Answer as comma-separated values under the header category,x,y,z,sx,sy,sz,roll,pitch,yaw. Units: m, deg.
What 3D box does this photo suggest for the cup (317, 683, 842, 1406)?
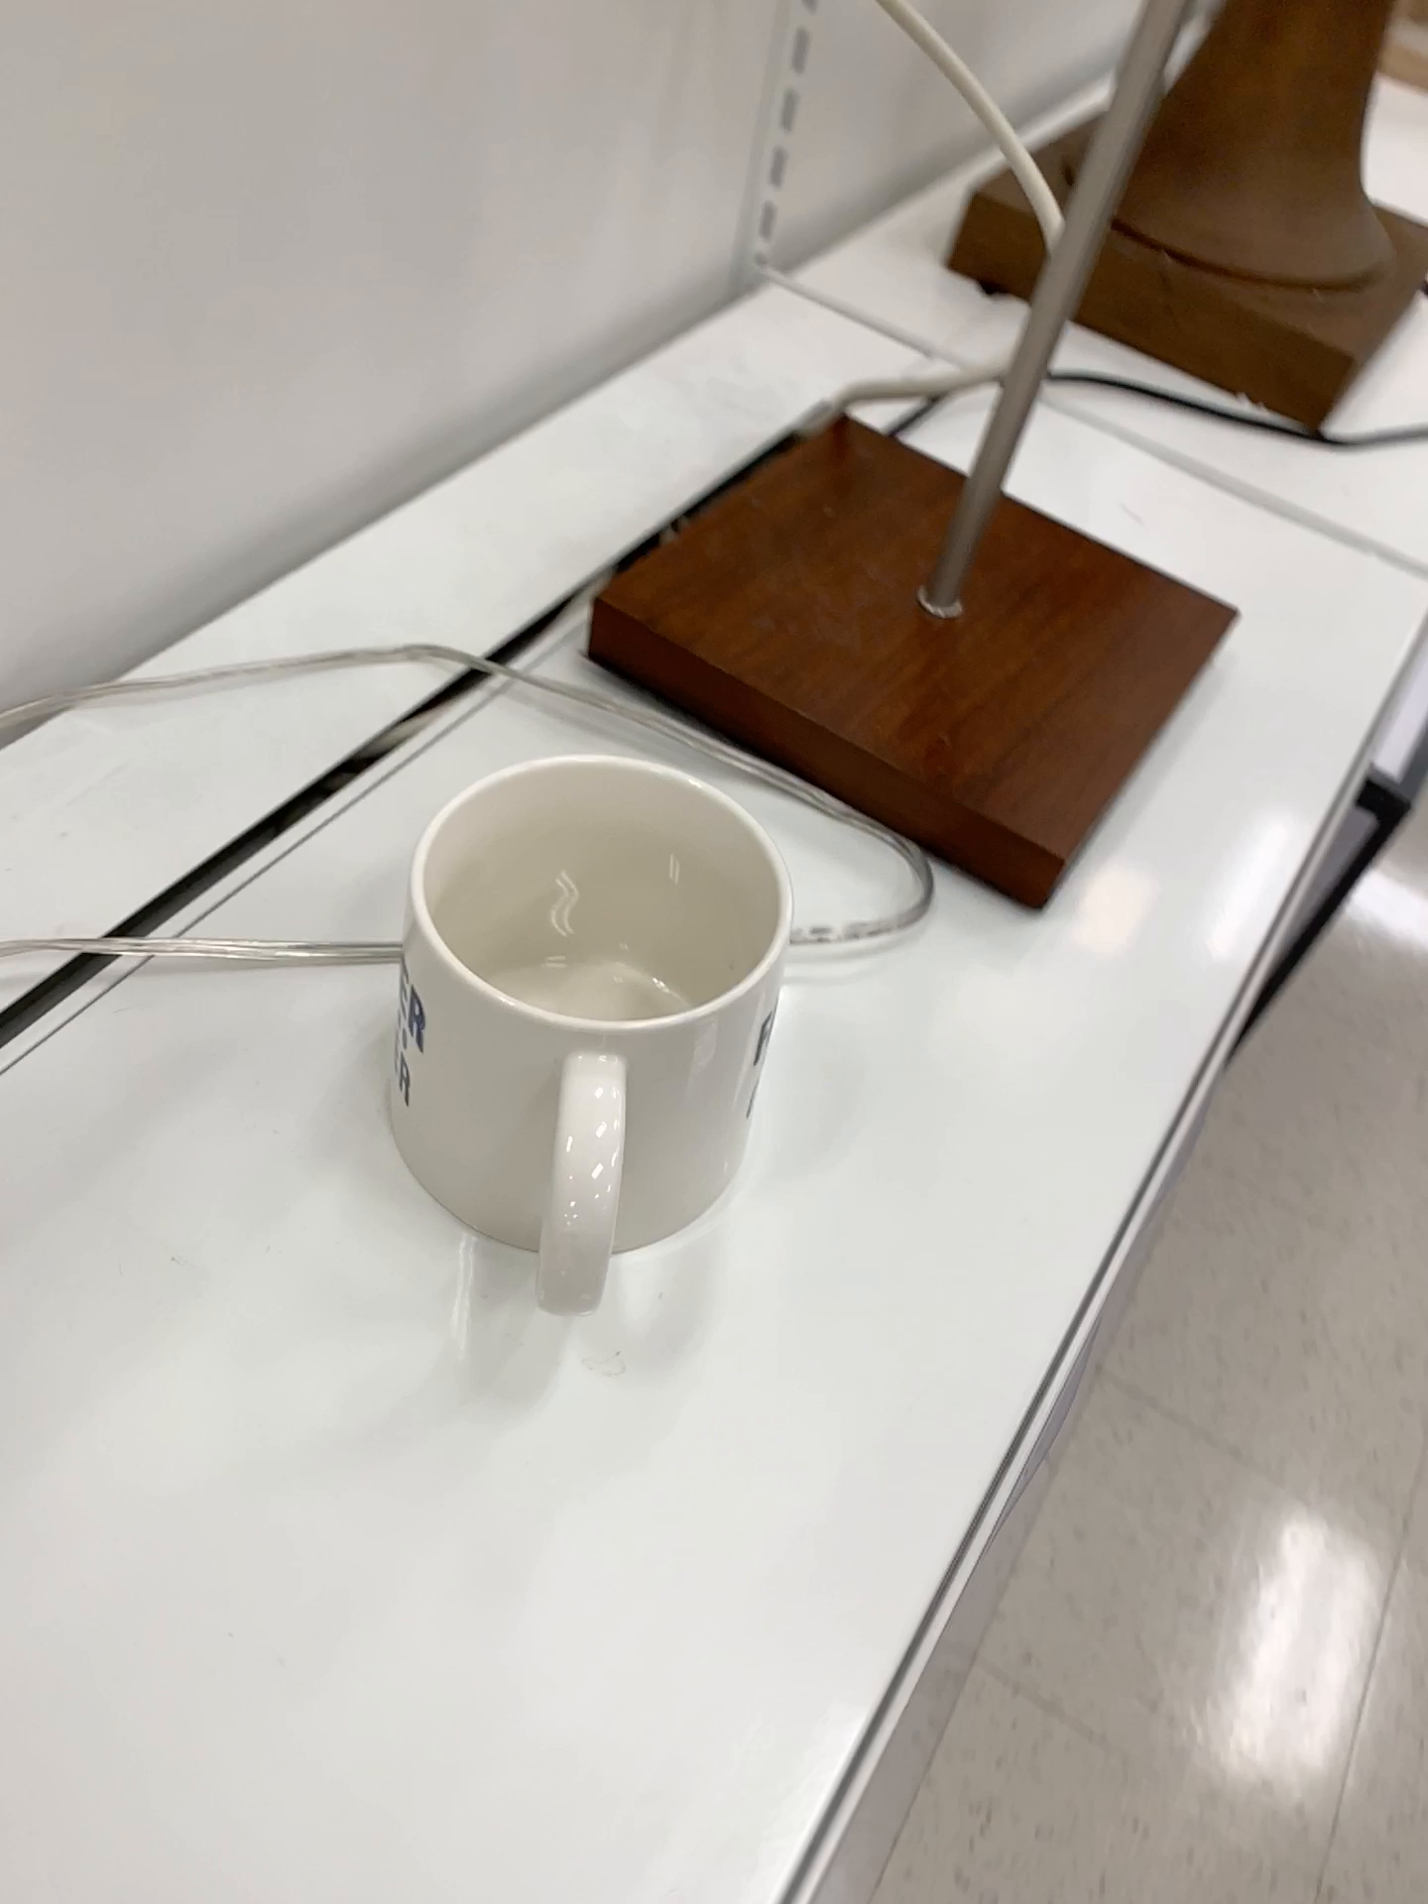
category,x,y,z,sx,sy,sz,roll,pitch,yaw
cup,-0.039,0.027,0.432,0.120,0.119,0.161,7,49,-8
